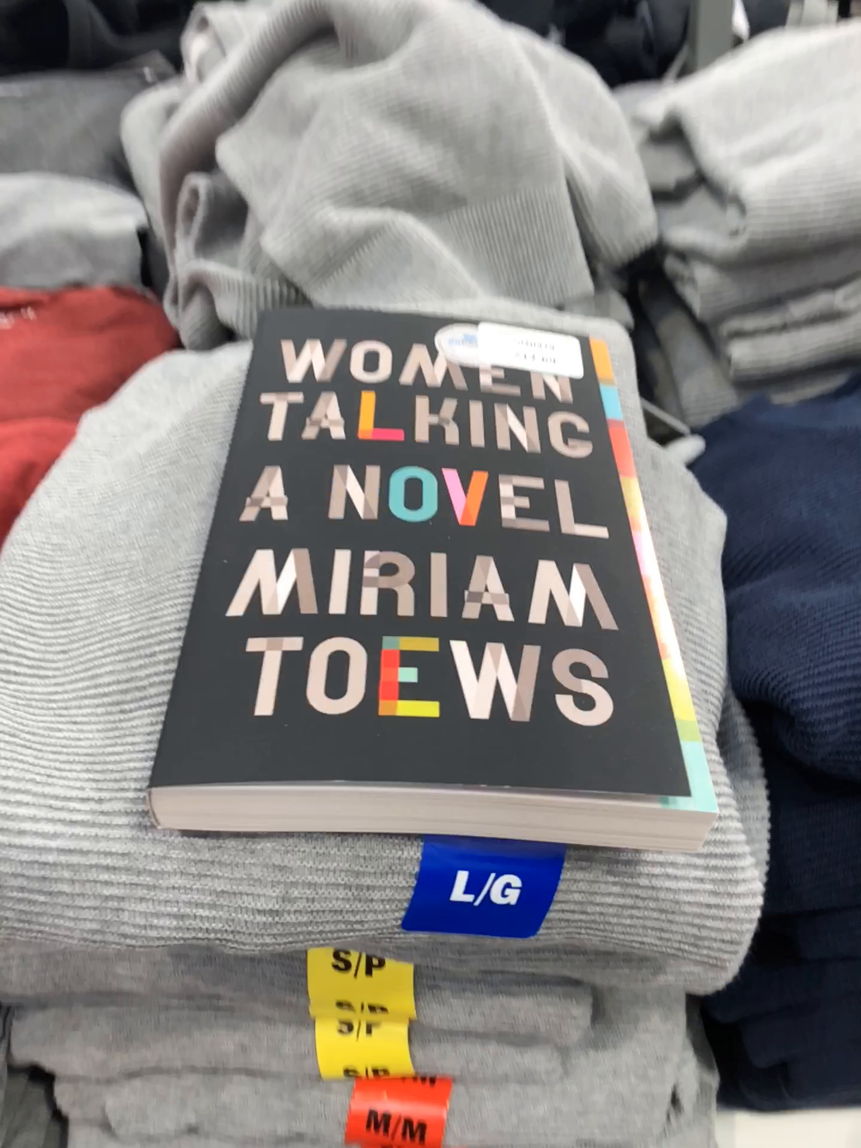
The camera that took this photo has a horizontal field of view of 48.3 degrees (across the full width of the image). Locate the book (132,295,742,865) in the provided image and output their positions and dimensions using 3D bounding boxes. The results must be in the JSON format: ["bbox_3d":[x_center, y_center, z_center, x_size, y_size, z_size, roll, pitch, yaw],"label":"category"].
[{"bbox_3d":[0.002,-0.017,0.292,0.135,0.020,0.211,3,46,-2],"label":"book"}]
